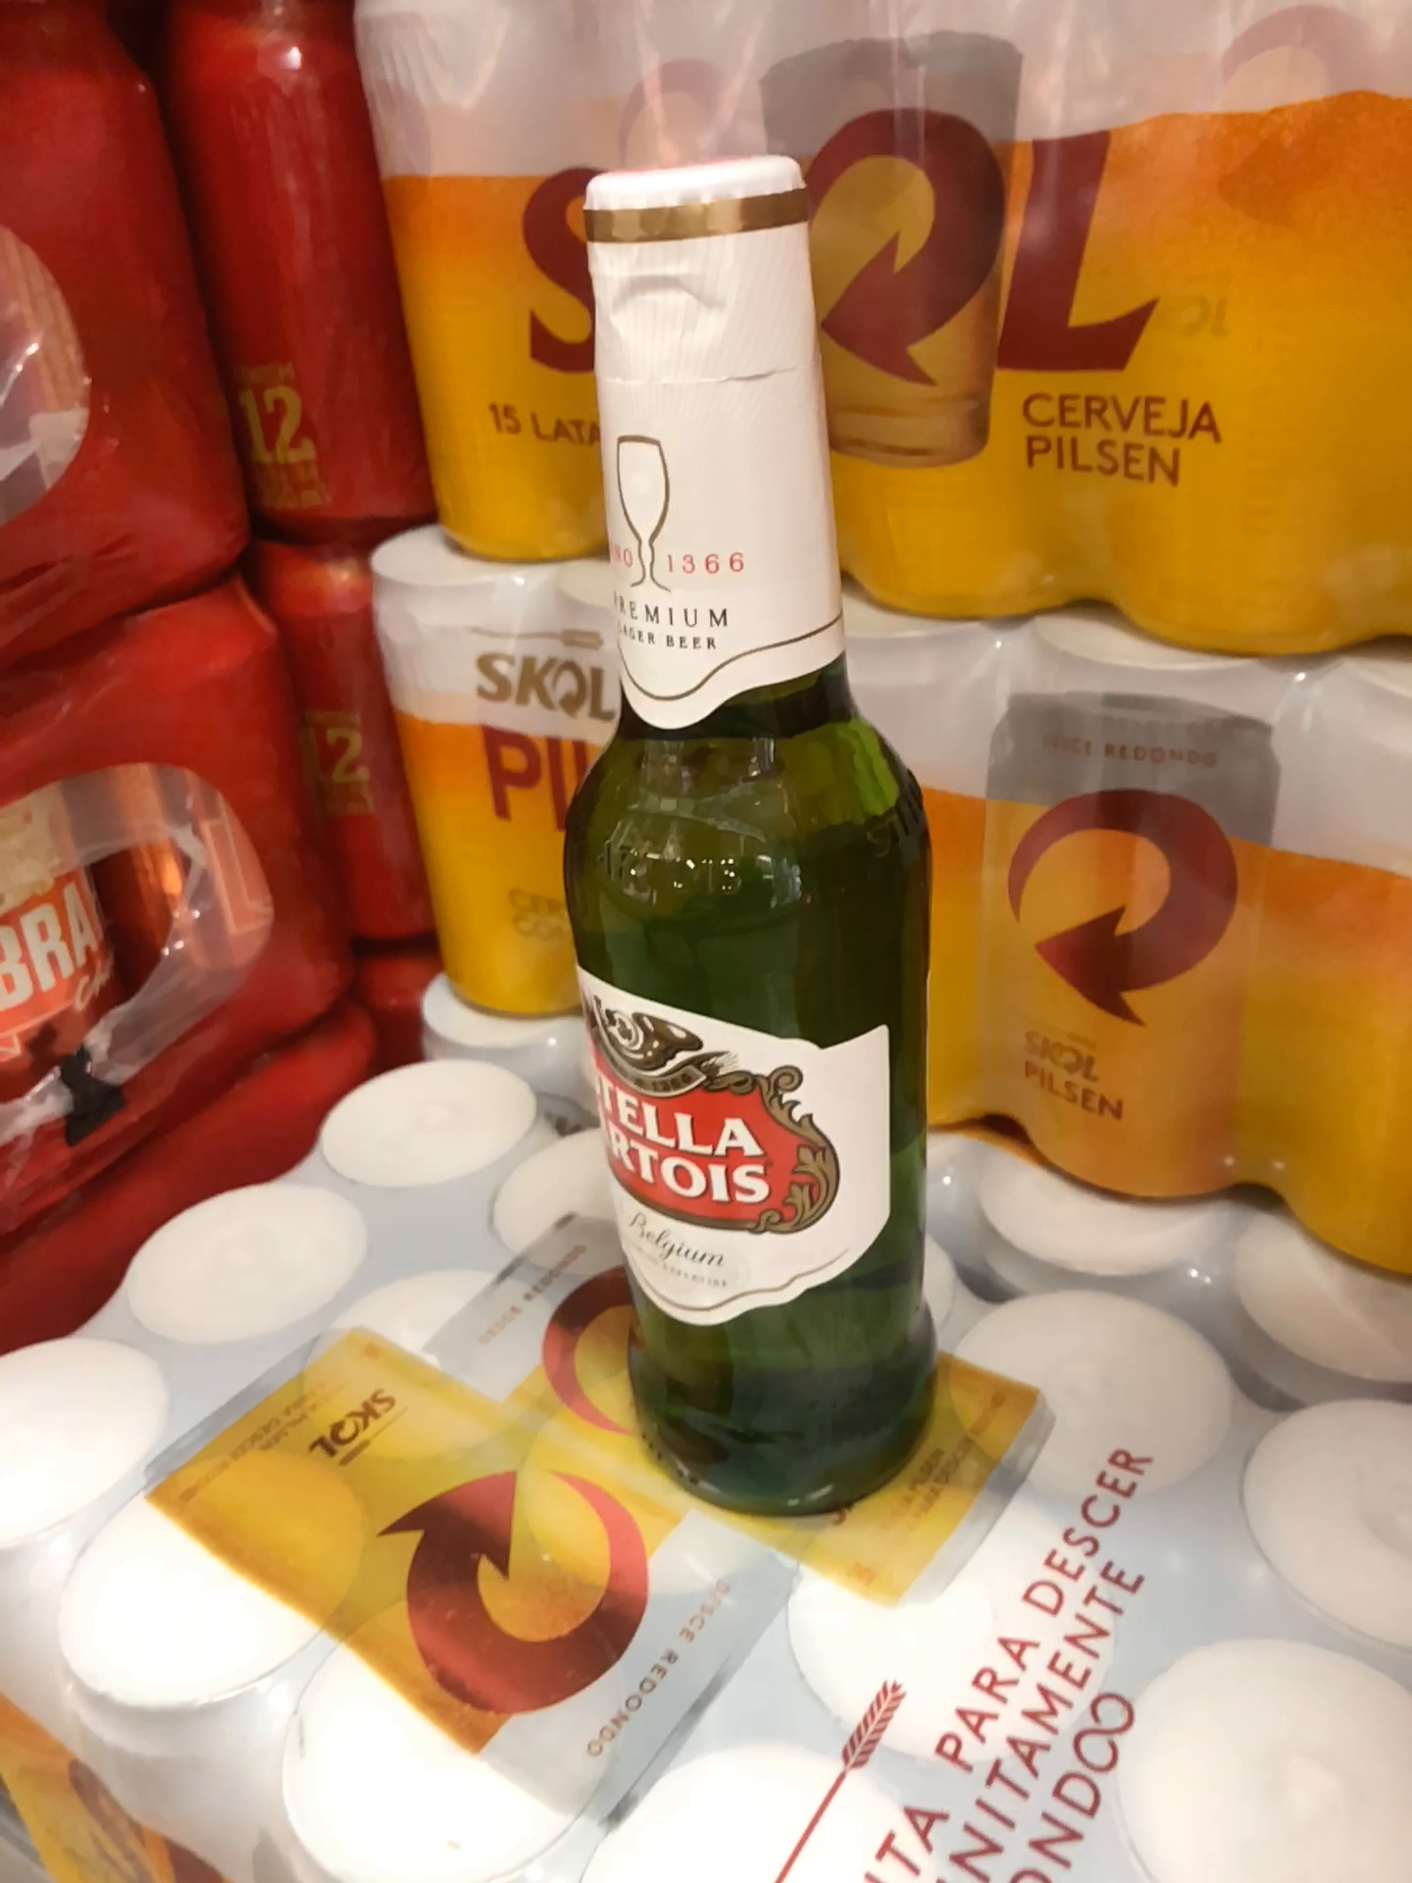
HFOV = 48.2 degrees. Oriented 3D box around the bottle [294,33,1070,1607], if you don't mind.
[{"bbox_3d":[0.010,-0.007,0.240,0.070,0.218,0.060,14,37,32],"label":"bottle"}]
